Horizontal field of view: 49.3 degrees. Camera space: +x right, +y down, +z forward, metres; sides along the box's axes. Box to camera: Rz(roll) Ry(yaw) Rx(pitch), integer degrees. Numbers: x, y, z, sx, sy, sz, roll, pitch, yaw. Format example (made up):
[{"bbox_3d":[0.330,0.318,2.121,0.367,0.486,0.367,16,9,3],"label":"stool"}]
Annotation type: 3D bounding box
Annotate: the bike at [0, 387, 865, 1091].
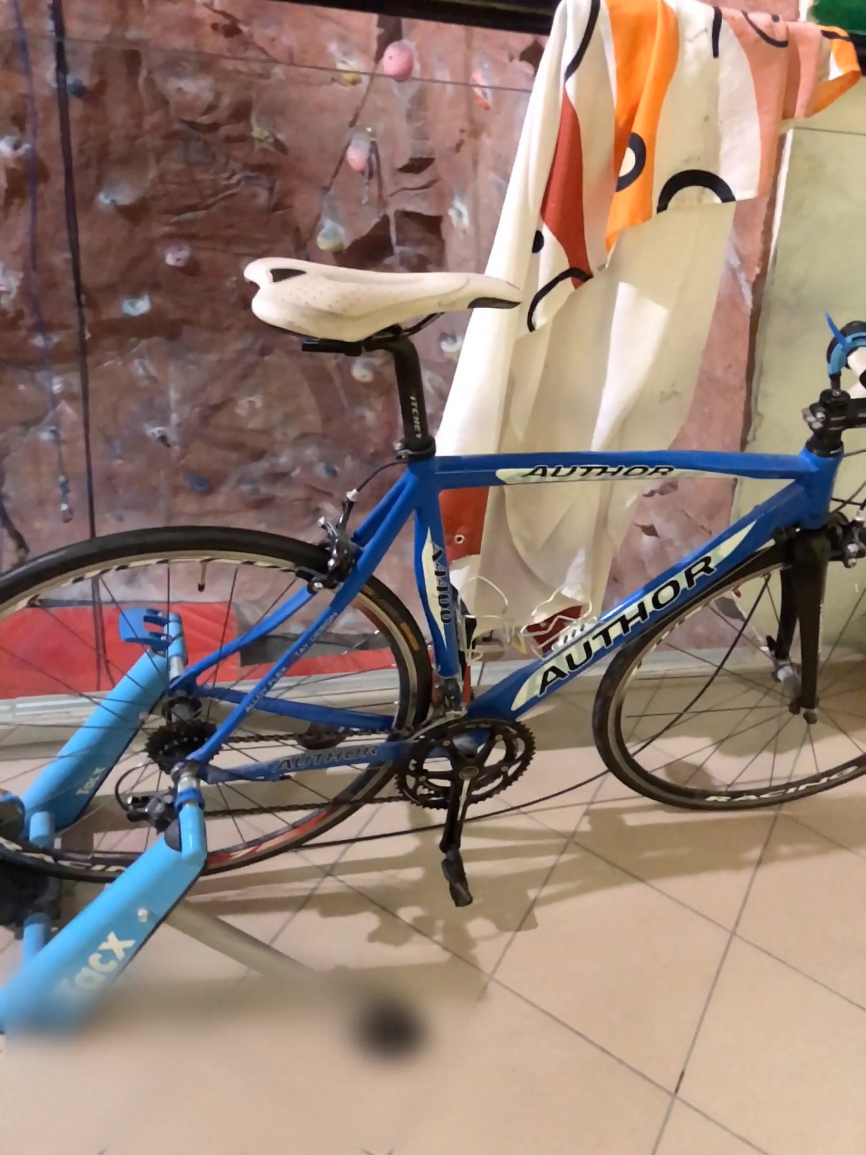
[{"bbox_3d":[0.132,0.230,1.349,1.553,0.682,0.468,2,39,-19],"label":"bike"}]
